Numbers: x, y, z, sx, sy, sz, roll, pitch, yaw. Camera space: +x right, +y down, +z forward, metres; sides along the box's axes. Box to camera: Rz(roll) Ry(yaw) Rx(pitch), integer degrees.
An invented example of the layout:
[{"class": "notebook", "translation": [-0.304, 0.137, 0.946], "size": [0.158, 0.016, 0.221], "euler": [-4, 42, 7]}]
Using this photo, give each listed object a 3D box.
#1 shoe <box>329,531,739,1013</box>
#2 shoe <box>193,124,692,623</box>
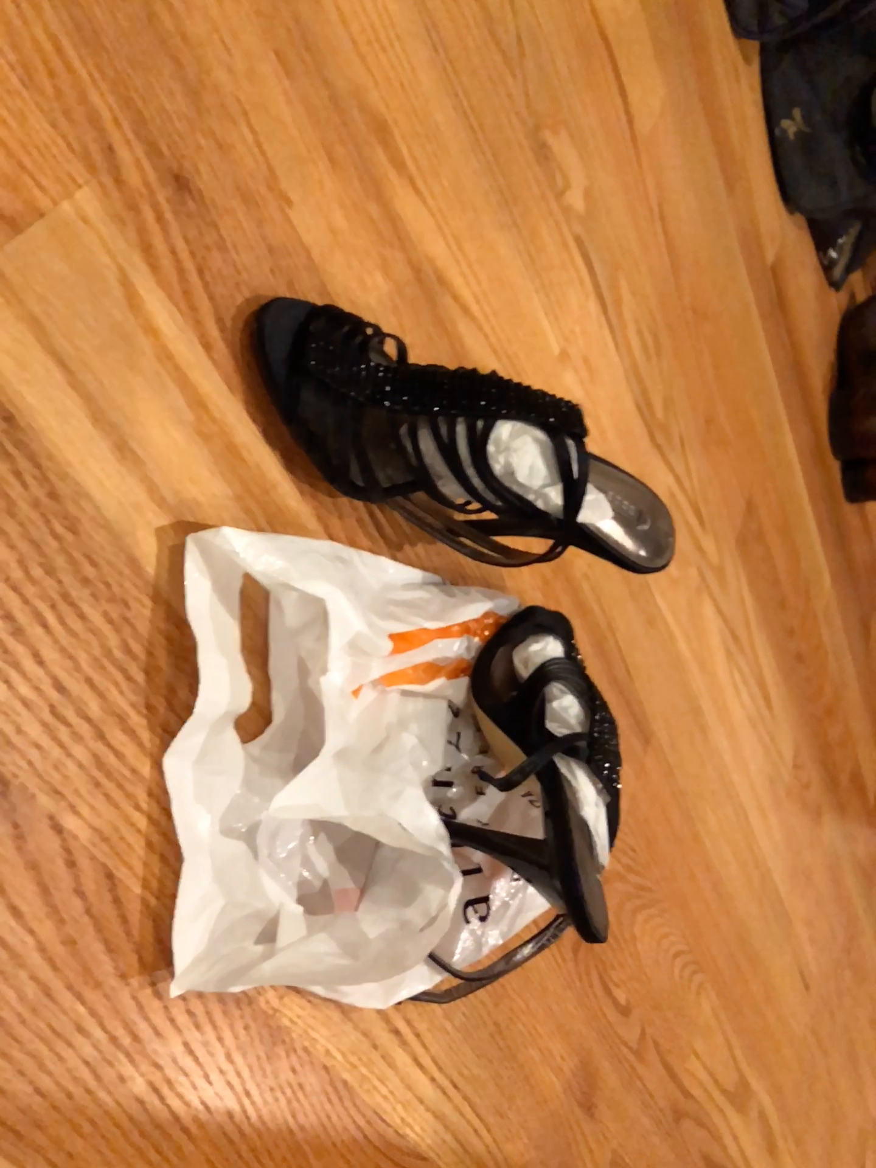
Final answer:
[{"class": "shoe", "translation": [0.062, 0.079, 0.488], "size": [0.218, 0.112, 0.092], "euler": [-57, 132, -41]}, {"class": "shoe", "translation": [0.019, -0.072, 0.440], "size": [0.218, 0.112, 0.090], "euler": [42, 54, -46]}]
